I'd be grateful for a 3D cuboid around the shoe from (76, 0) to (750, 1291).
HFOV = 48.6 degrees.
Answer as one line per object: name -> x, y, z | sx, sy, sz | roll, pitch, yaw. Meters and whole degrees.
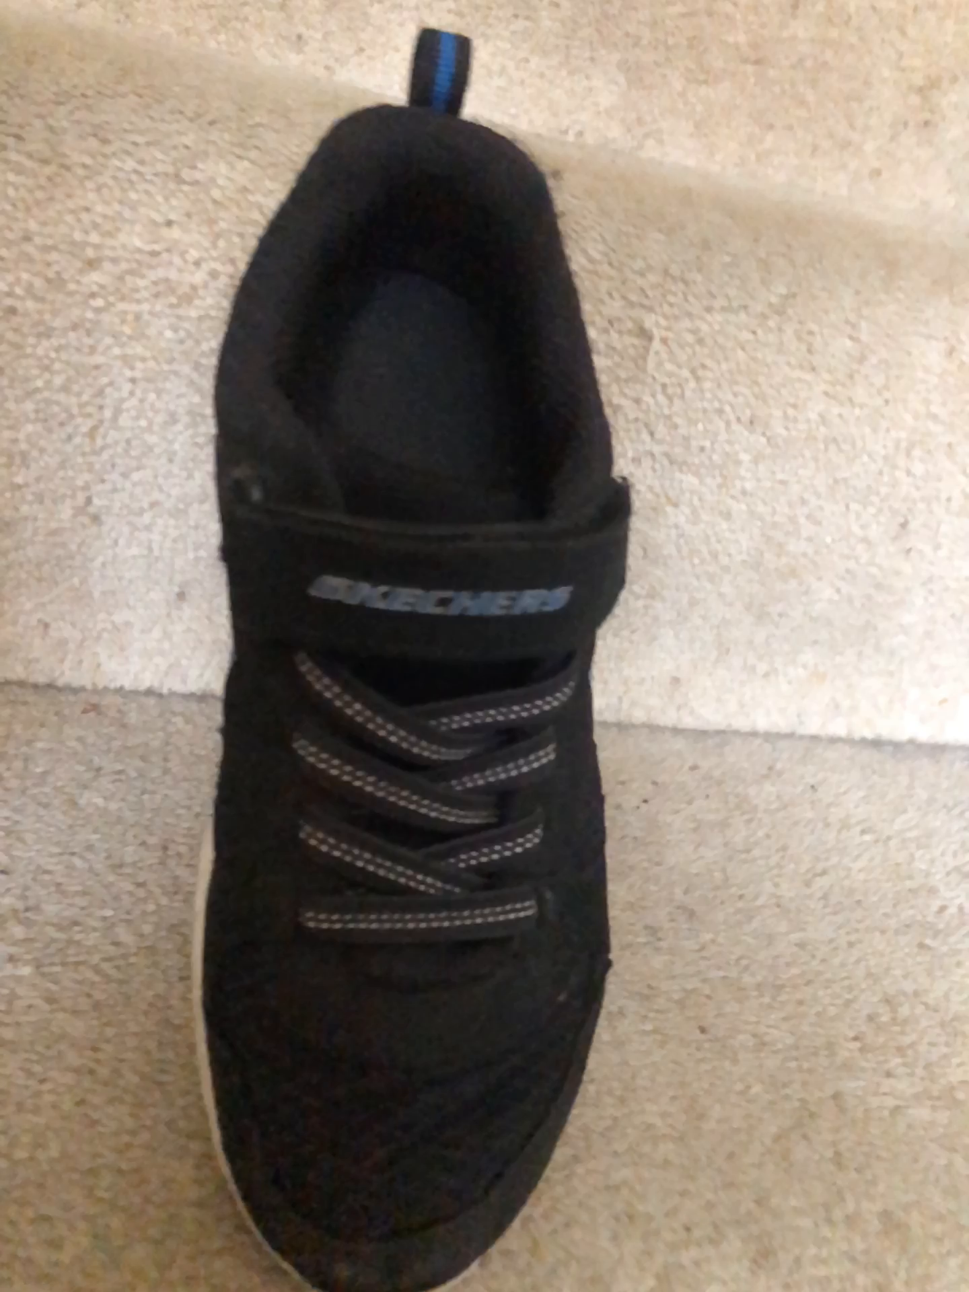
shoe -> -0.015, 0.001, 0.212 | 0.090, 0.221, 0.100 | 2, -11, -10
